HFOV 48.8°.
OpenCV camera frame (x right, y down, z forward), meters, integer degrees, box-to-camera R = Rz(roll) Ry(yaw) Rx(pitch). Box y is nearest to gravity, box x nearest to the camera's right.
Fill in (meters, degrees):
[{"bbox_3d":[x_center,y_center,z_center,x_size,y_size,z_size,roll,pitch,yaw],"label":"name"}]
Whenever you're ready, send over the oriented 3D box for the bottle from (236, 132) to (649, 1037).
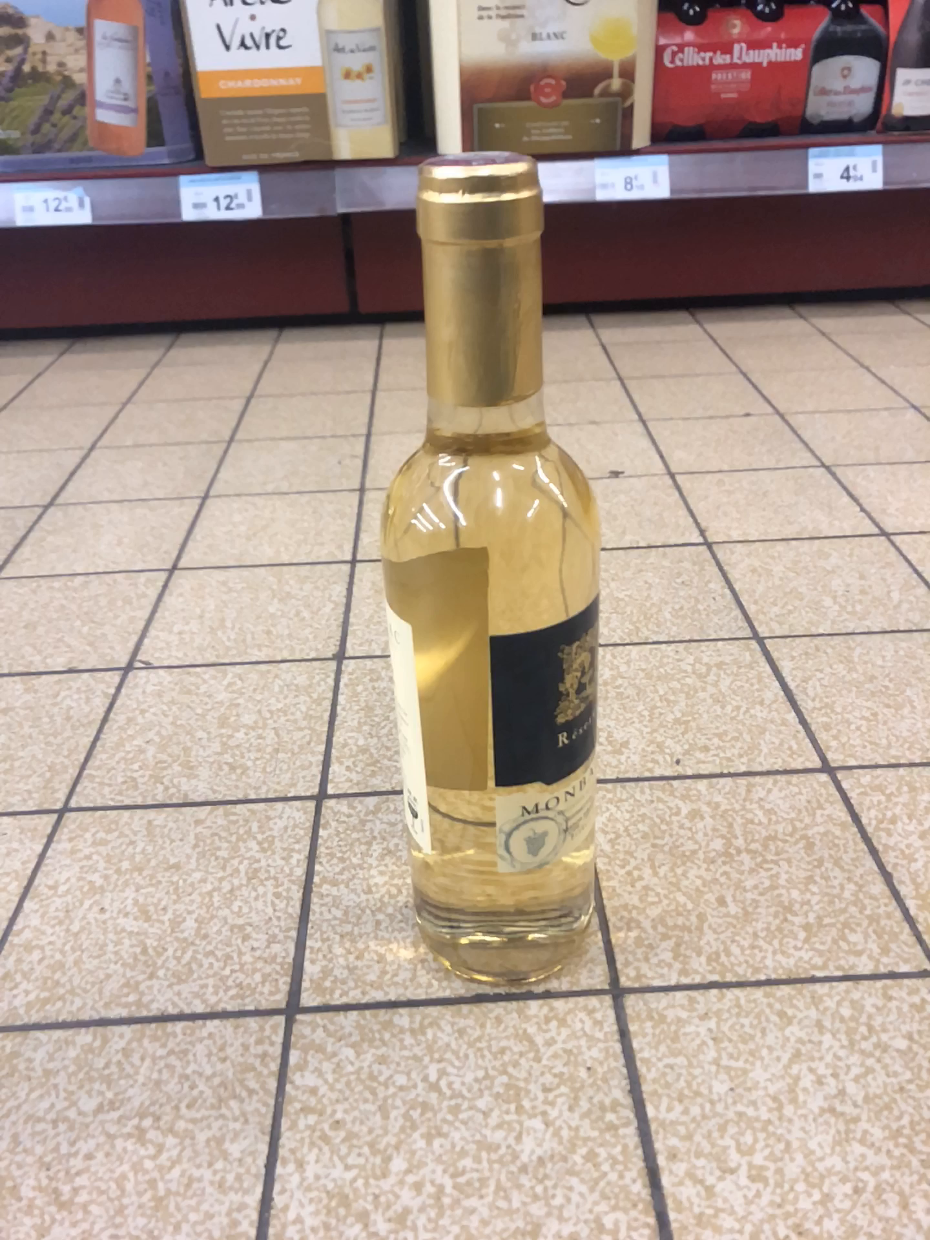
[{"bbox_3d":[0.002,-0.002,0.287,0.070,0.239,0.070,-2,30,1],"label":"bottle"}]
